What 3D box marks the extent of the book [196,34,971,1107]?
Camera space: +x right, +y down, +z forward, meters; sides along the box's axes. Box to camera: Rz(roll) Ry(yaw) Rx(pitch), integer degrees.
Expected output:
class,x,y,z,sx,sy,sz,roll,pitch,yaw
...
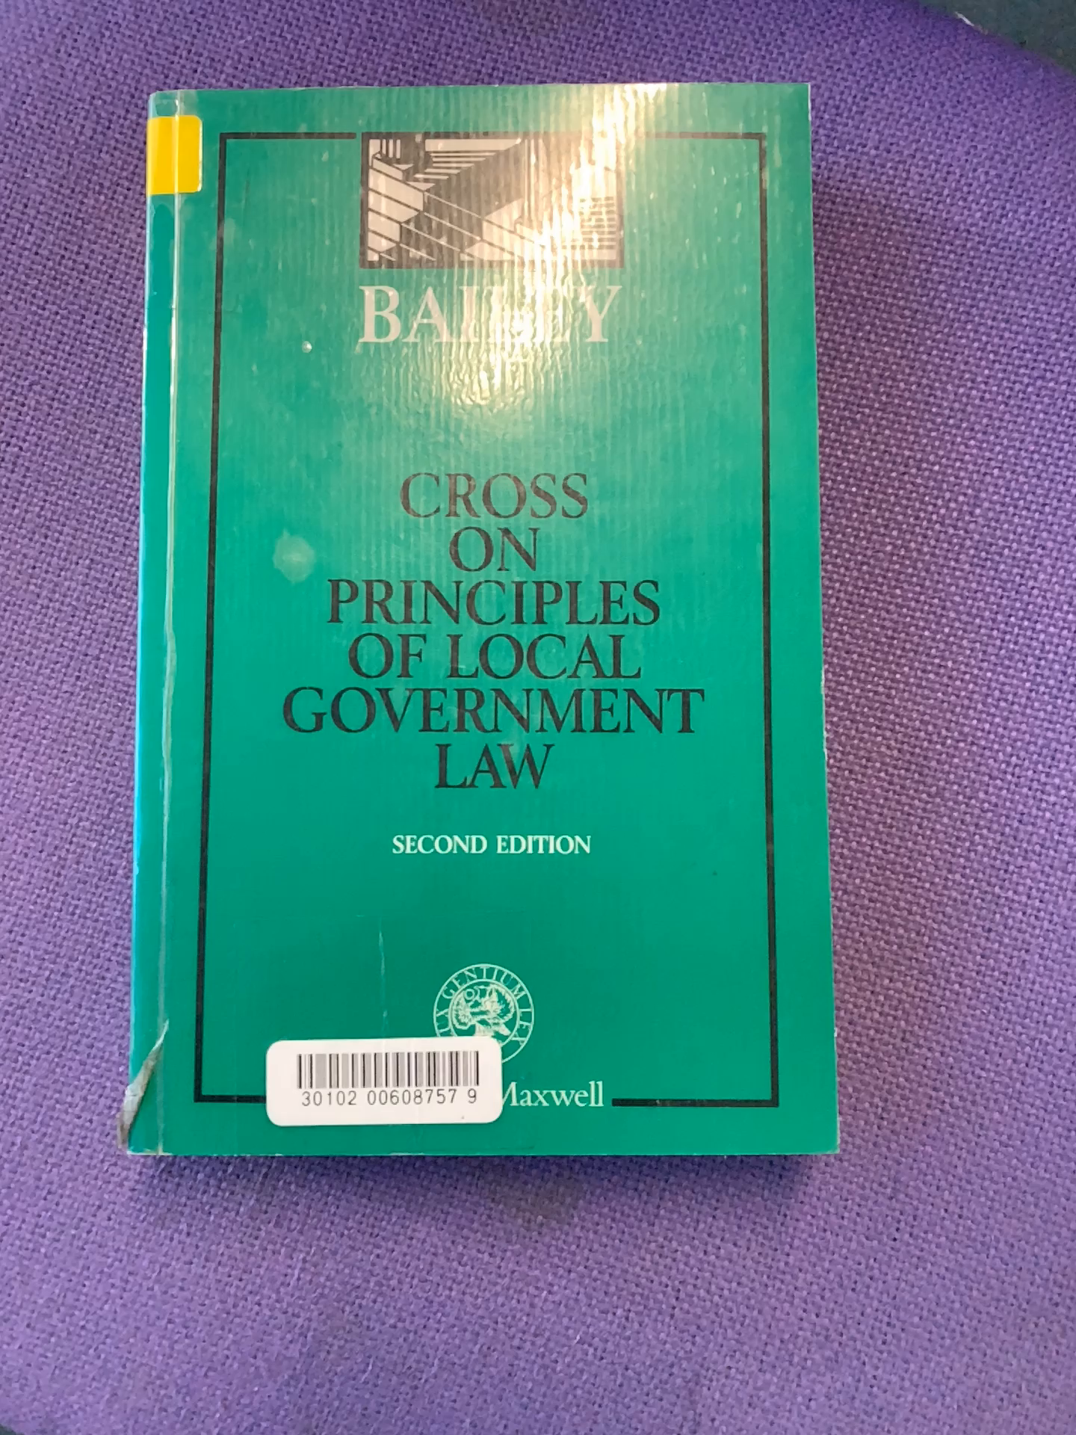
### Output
class,x,y,z,sx,sy,sz,roll,pitch,yaw
book,0.007,-0.037,0.261,0.160,0.040,0.236,-1,84,-1
